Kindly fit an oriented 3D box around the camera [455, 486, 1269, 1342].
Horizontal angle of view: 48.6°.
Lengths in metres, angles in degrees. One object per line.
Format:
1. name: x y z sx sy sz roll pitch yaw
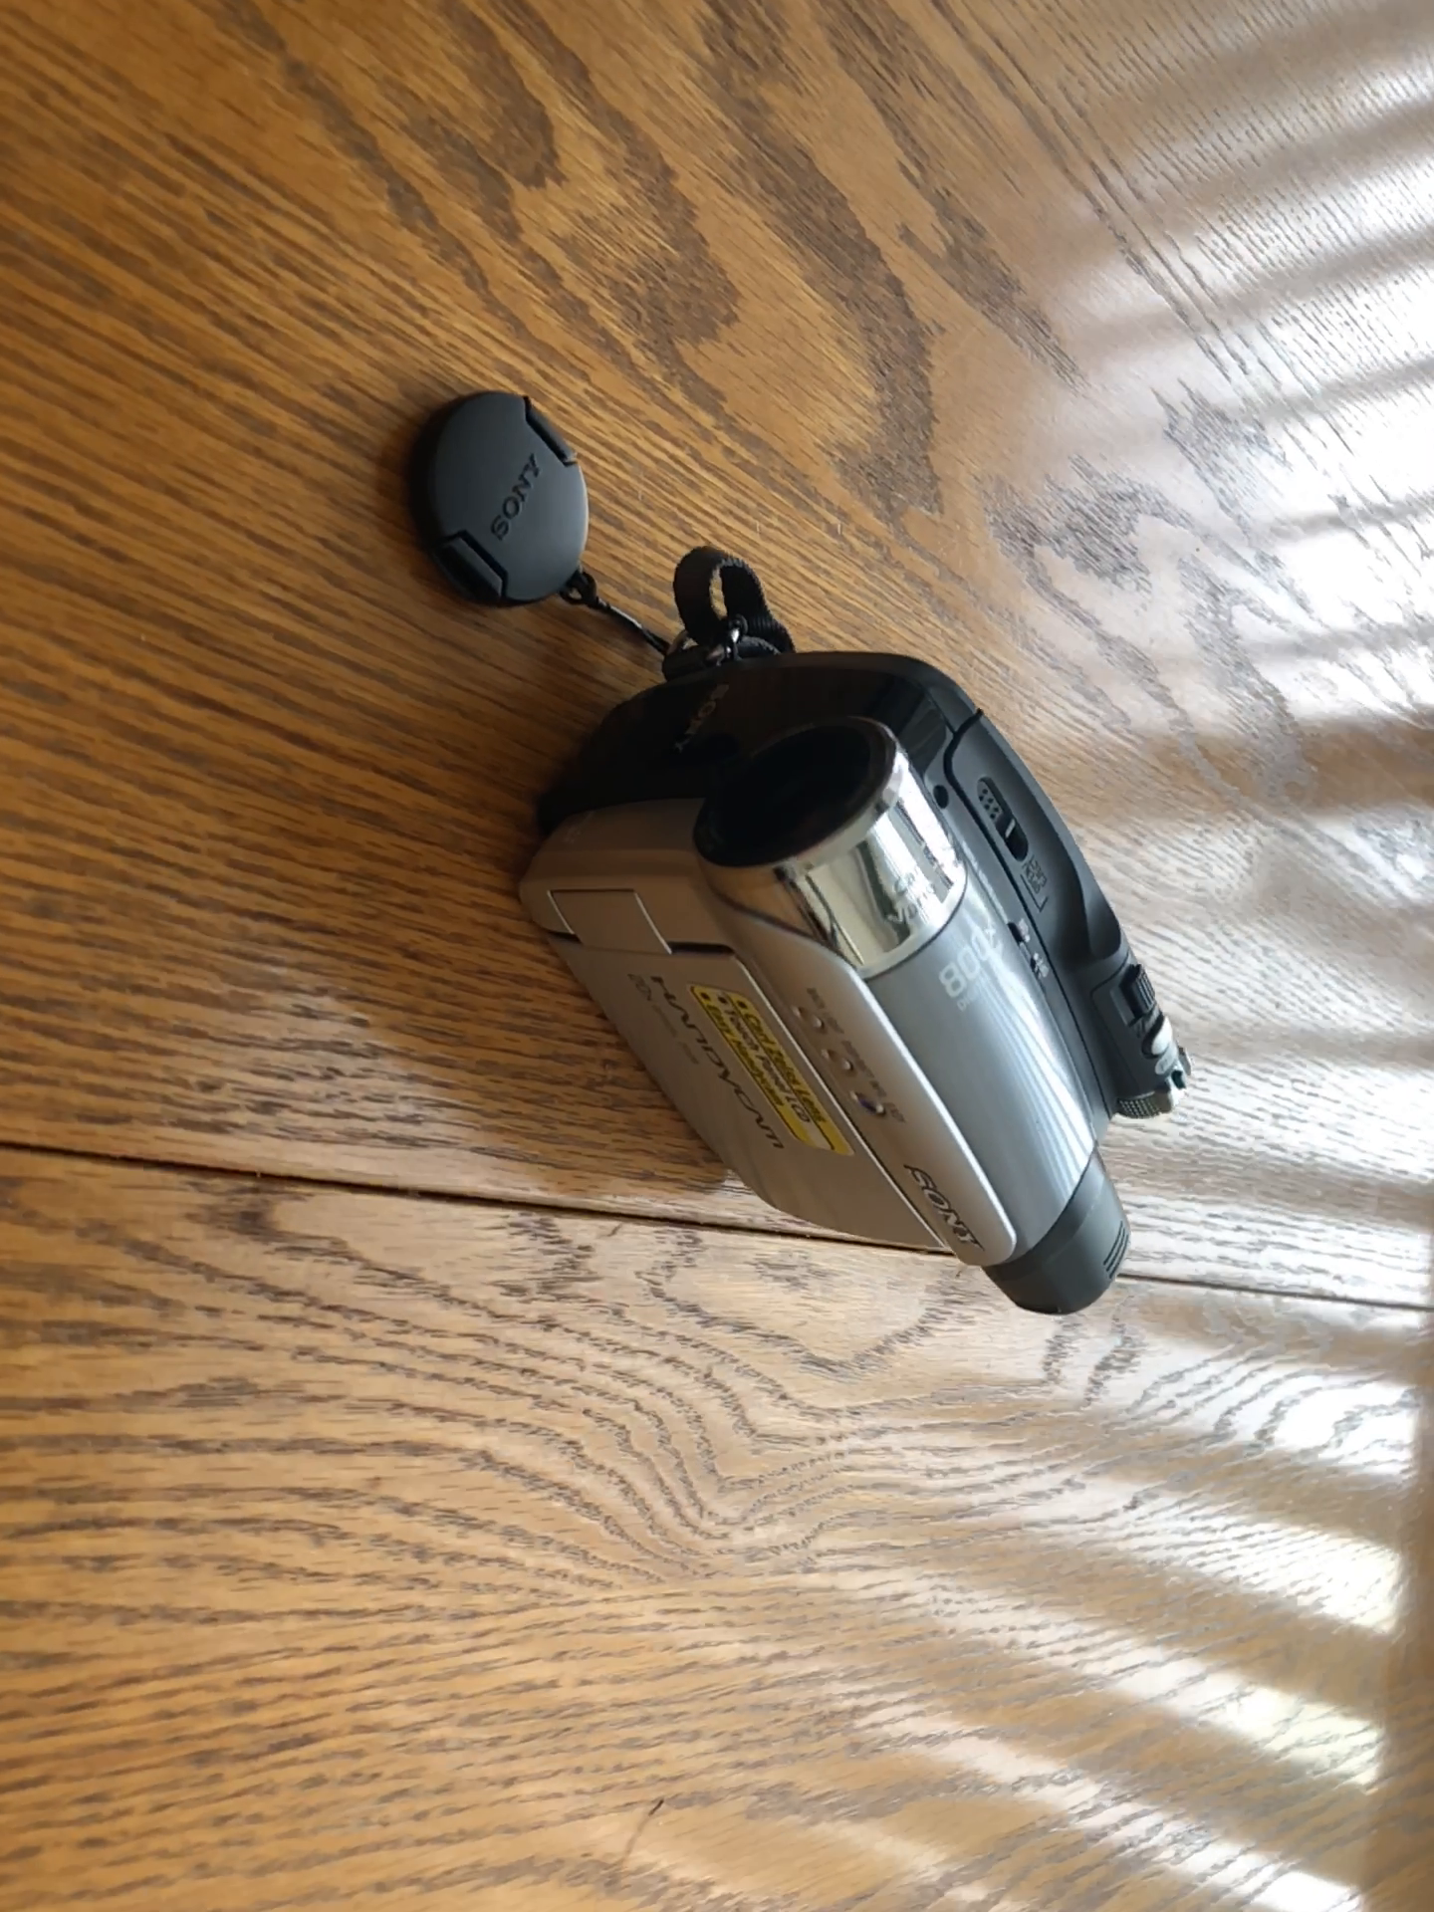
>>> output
1. camera: 0.032 -0.005 0.273 0.112 0.072 0.080 54 55 -35
